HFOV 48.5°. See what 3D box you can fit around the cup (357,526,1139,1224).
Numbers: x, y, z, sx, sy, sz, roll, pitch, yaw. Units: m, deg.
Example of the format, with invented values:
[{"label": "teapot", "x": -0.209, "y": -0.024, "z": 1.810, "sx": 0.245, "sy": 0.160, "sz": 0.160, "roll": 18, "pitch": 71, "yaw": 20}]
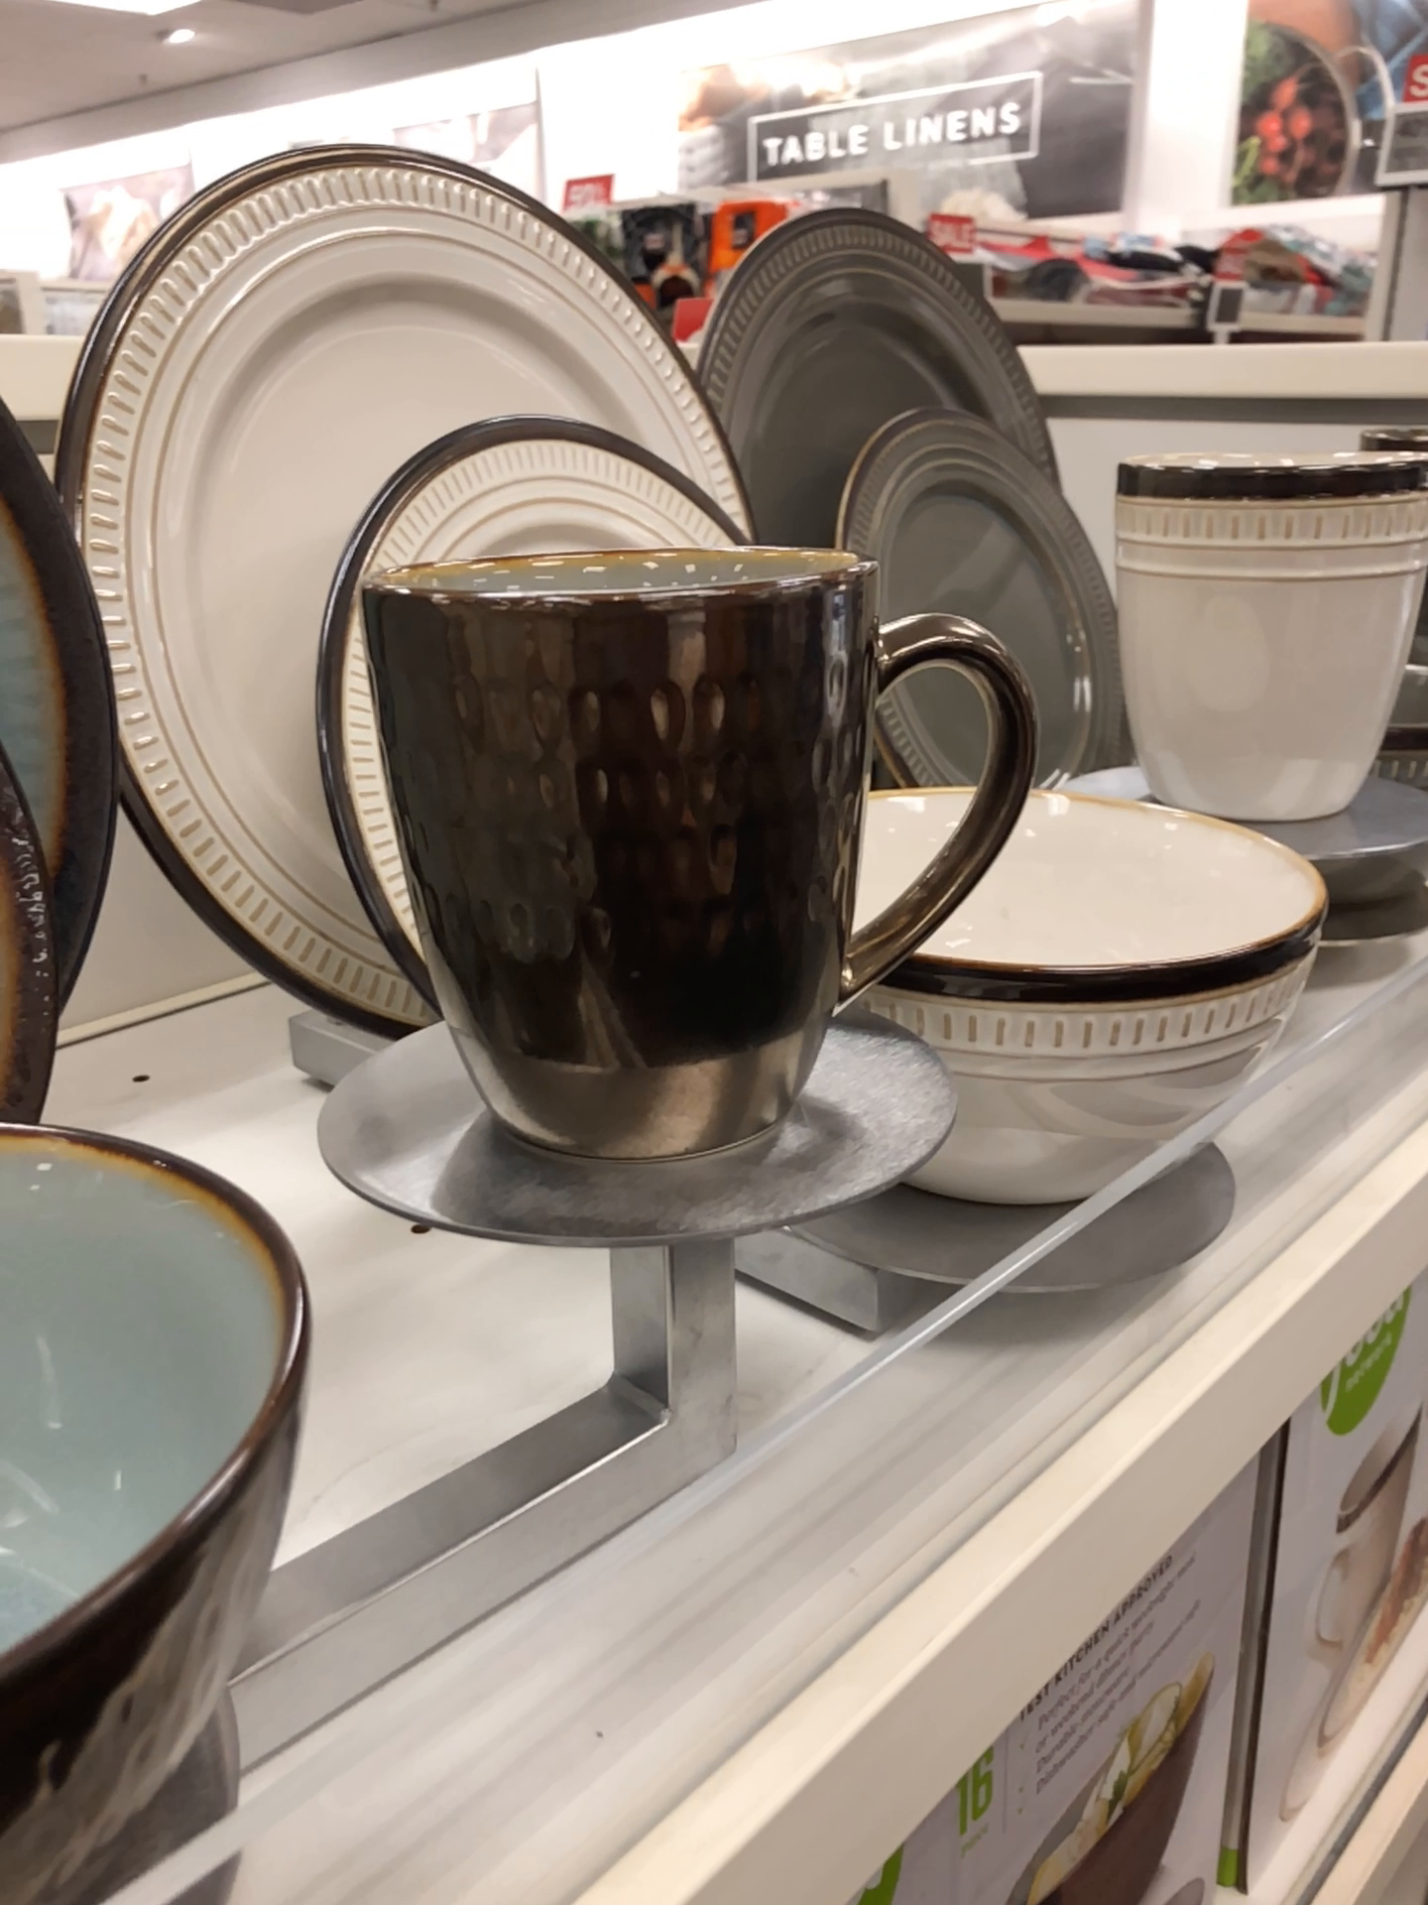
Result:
[{"label": "cup", "x": 0.002, "y": -0.023, "z": 0.298, "sx": 0.117, "sy": 0.100, "sz": 0.084, "roll": -8, "pitch": 21, "yaw": -19}]
